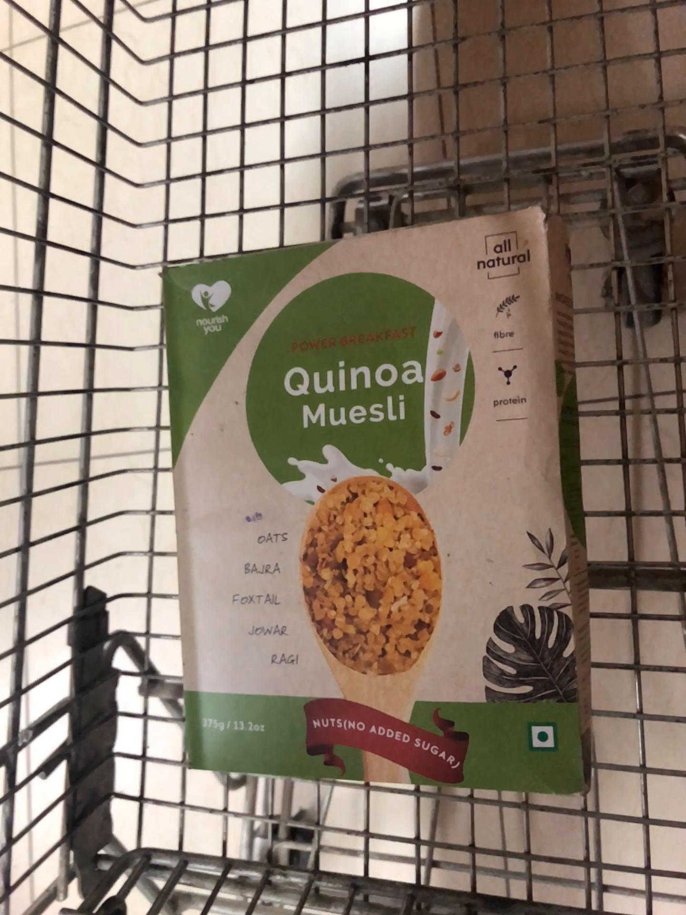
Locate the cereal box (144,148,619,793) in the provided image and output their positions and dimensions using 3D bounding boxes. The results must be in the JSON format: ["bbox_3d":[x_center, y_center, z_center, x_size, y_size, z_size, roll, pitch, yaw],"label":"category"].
[{"bbox_3d":[0.014,0.008,0.299,0.160,0.060,0.210,-4,88,16],"label":"cereal box"}]
